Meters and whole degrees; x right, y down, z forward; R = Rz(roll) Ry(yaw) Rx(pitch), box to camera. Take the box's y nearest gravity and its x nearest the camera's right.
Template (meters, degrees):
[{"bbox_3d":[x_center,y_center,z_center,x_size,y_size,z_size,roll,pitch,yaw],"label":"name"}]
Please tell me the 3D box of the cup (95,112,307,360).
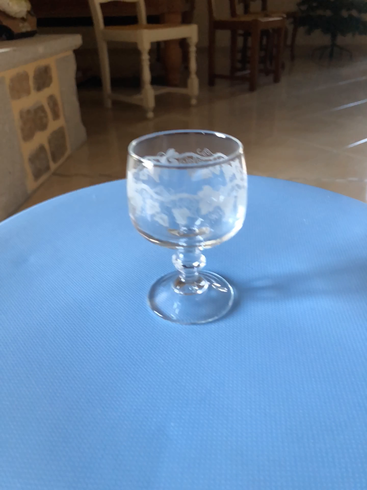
[{"bbox_3d":[0.008,-0.009,0.184,0.060,0.080,0.060,-1,30,1],"label":"cup"}]
